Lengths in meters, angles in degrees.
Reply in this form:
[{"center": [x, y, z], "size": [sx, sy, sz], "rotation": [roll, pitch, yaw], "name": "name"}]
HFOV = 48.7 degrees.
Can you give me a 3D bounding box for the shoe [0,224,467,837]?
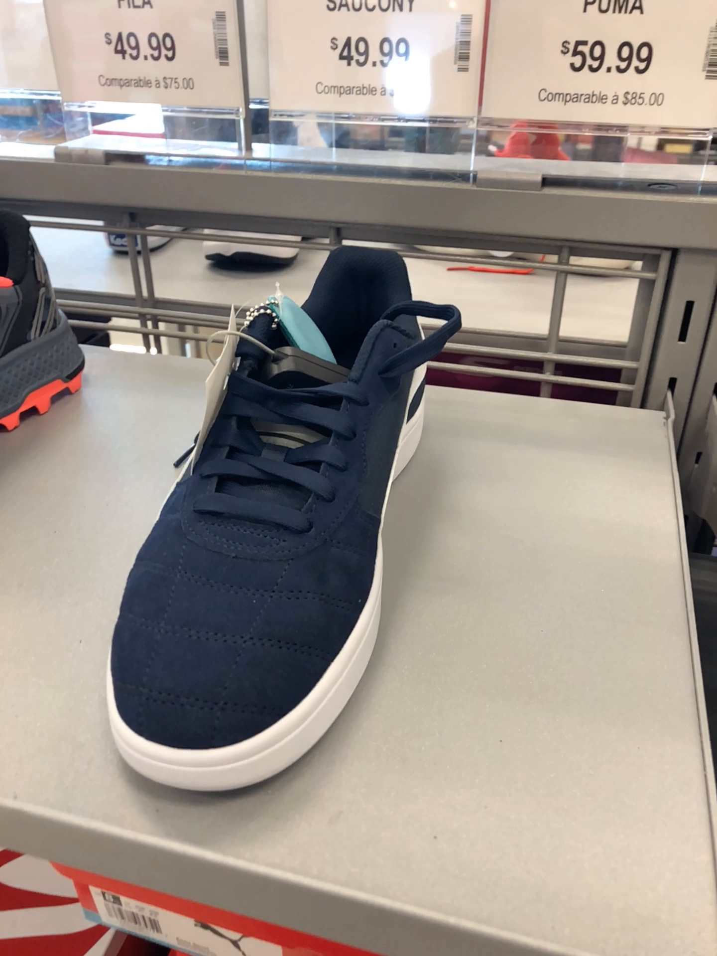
[{"center": [-0.035, -0.010, 0.325], "size": [0.119, 0.119, 0.242], "rotation": [7, 32, 12], "name": "shoe"}]
